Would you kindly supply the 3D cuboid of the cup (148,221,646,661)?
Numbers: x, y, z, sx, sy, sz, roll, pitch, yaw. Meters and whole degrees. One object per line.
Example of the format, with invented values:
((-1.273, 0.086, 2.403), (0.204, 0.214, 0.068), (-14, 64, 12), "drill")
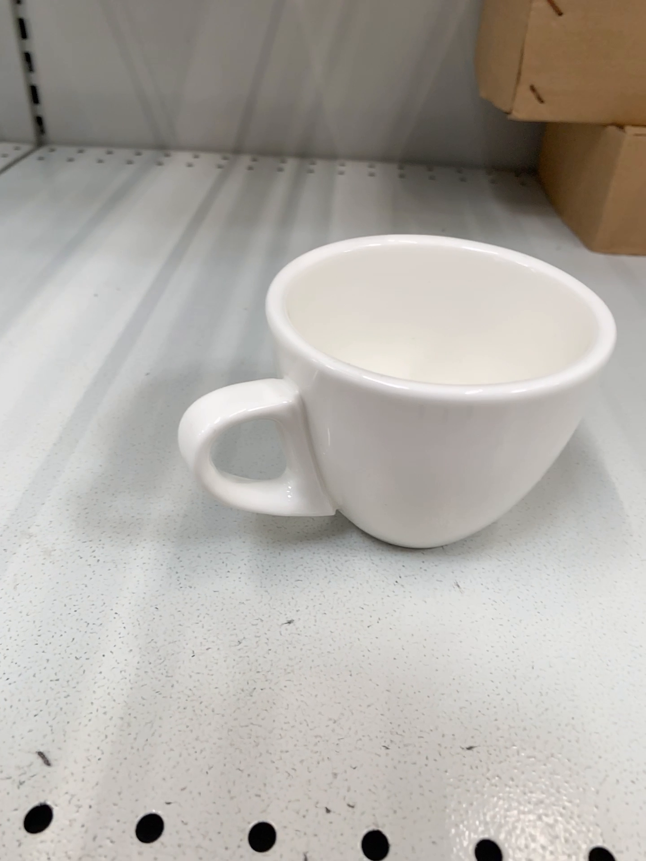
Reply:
((0.023, -0.009, 0.214), (0.128, 0.072, 0.097), (-13, 39, -21), "cup")
